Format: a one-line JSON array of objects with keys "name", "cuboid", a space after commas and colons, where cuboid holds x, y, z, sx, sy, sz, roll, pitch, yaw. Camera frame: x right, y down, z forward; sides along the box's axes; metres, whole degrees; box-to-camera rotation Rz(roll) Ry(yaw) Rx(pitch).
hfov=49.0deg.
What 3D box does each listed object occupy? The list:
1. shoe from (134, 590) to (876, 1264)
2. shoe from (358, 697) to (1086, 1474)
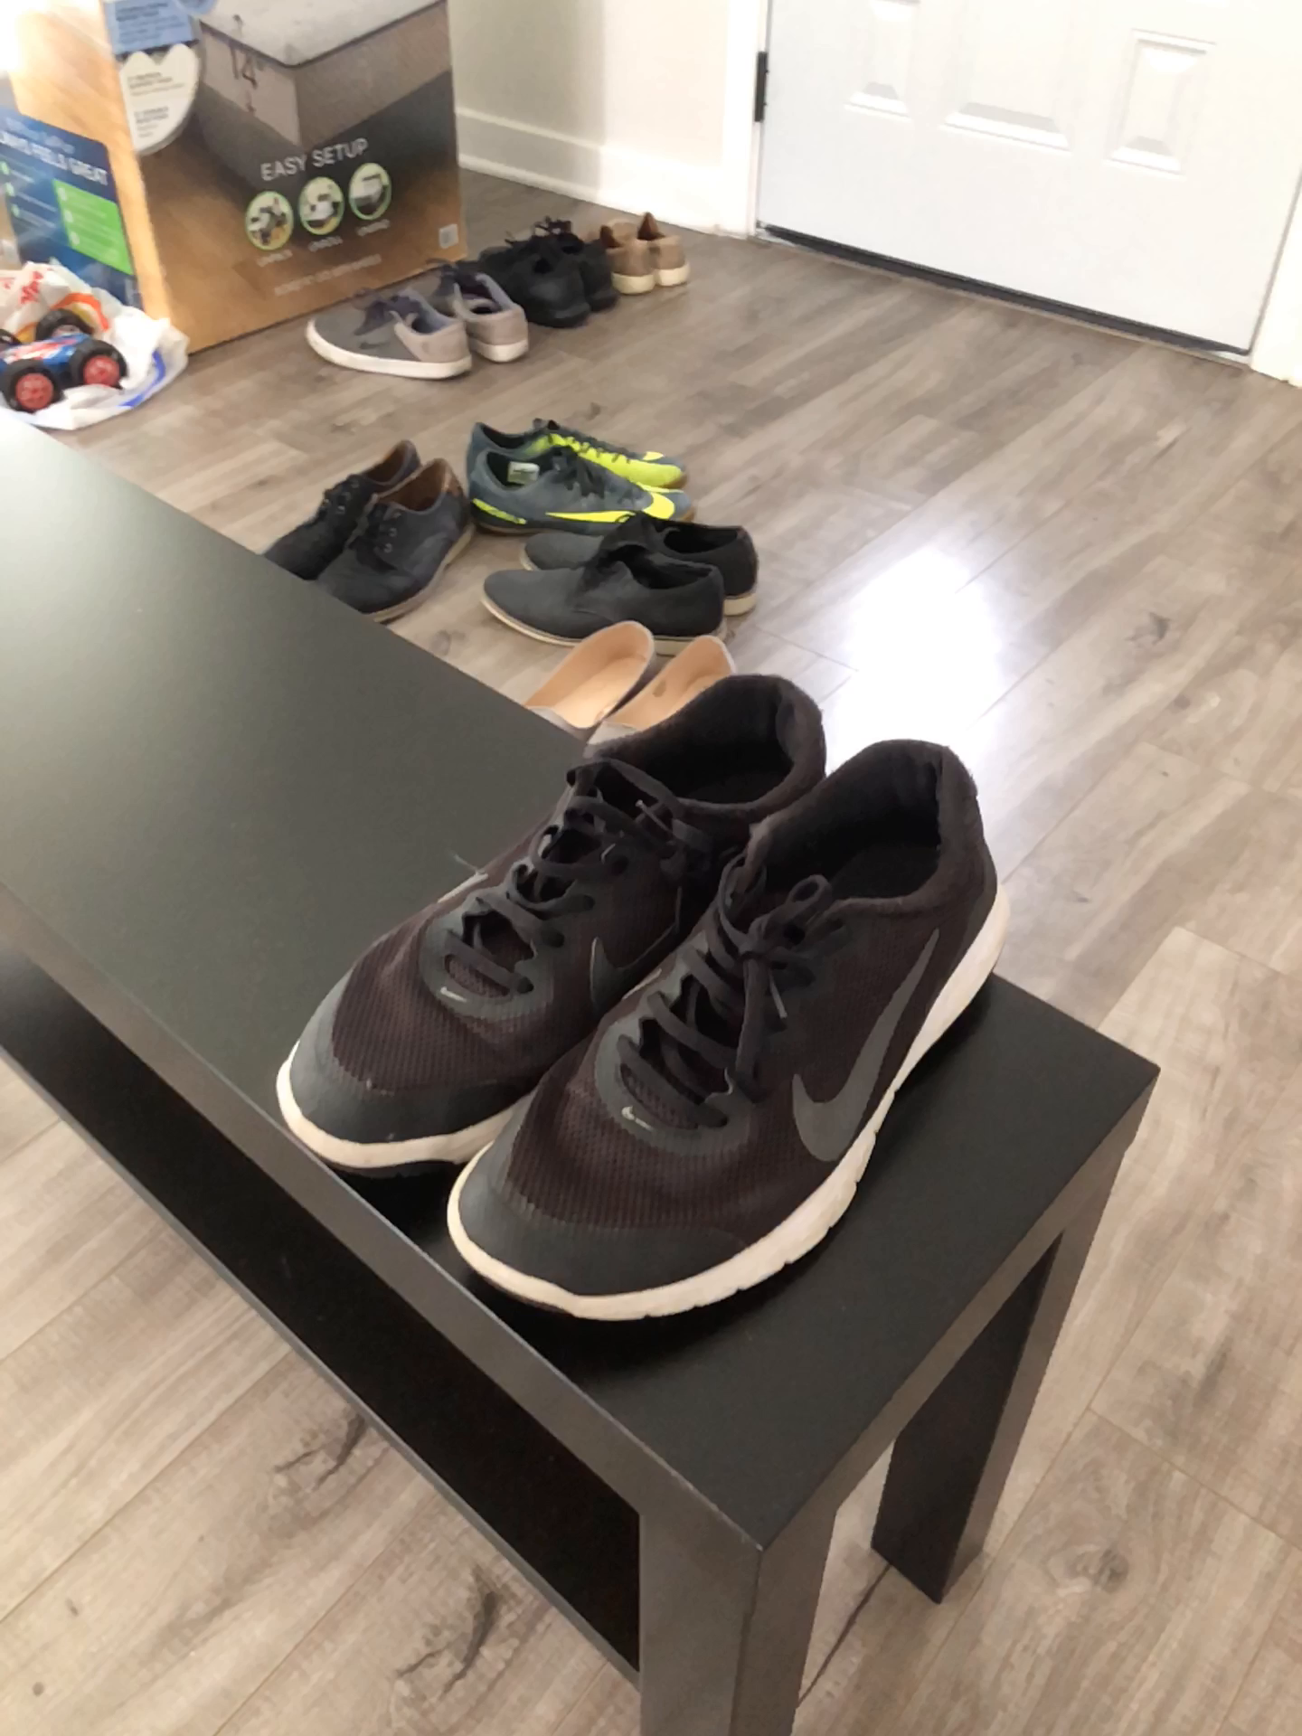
[{"name": "shoe", "cuboid": [-0.043, 0.009, 0.579, 0.110, 0.100, 0.280, 33, 54, 31]}, {"name": "shoe", "cuboid": [0.039, 0.065, 0.545, 0.110, 0.110, 0.280, 29, 51, 28]}]
